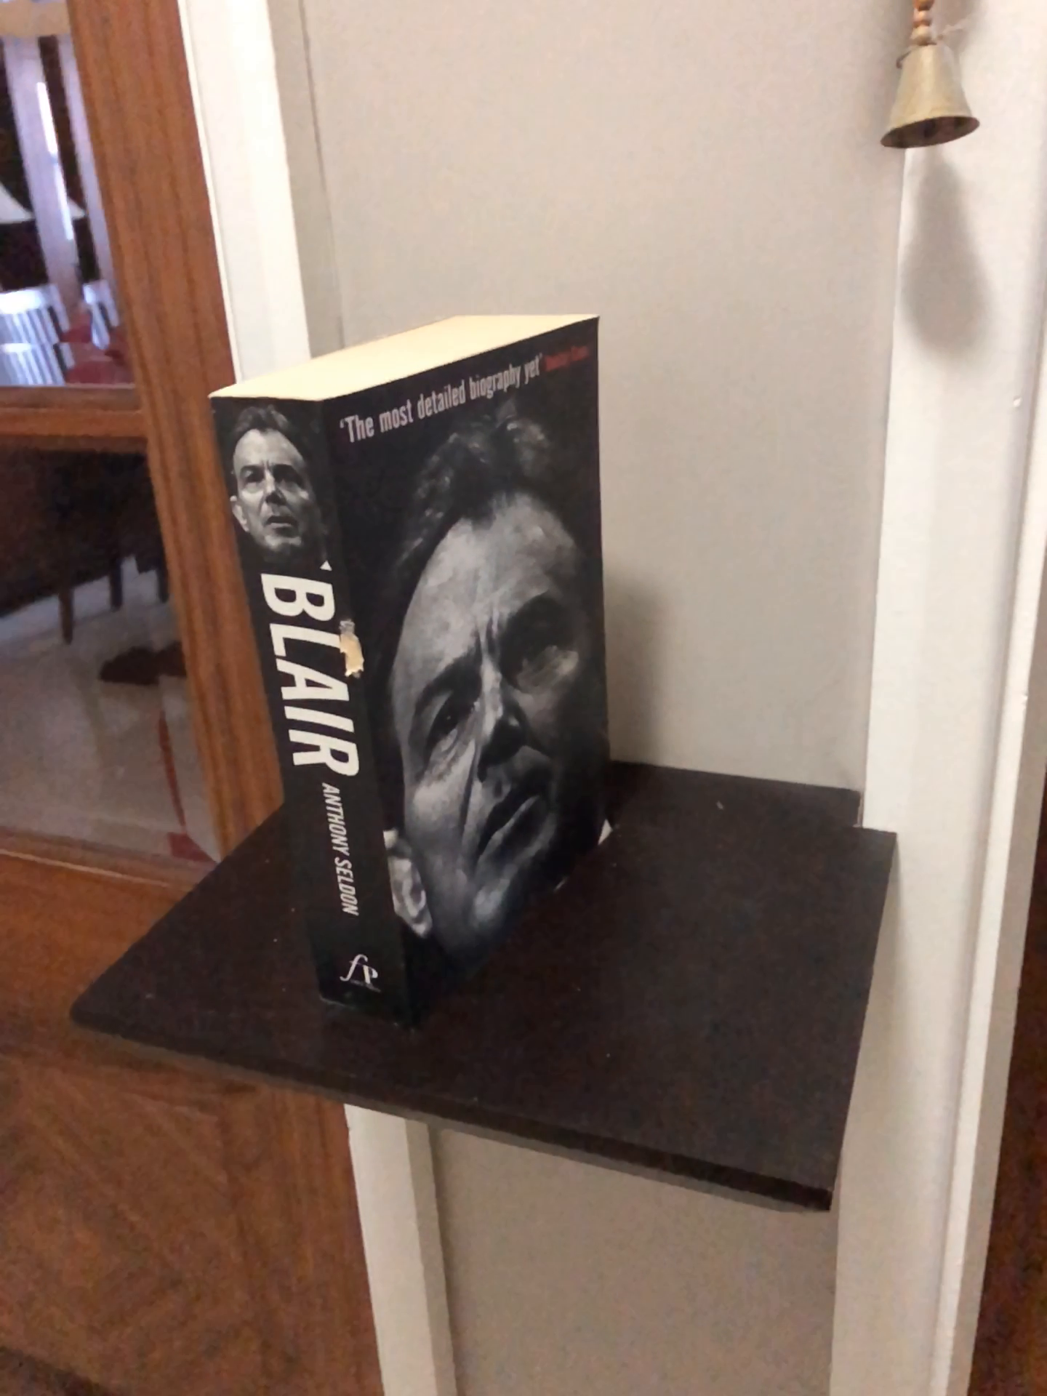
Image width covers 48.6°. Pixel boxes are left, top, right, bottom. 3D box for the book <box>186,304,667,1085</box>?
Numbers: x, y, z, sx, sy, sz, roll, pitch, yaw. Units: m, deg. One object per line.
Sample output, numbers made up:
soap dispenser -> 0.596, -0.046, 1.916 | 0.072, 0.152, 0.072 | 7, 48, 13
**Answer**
book -> -0.014, -0.015, 0.394 | 0.060, 0.209, 0.171 | 9, 26, 28
